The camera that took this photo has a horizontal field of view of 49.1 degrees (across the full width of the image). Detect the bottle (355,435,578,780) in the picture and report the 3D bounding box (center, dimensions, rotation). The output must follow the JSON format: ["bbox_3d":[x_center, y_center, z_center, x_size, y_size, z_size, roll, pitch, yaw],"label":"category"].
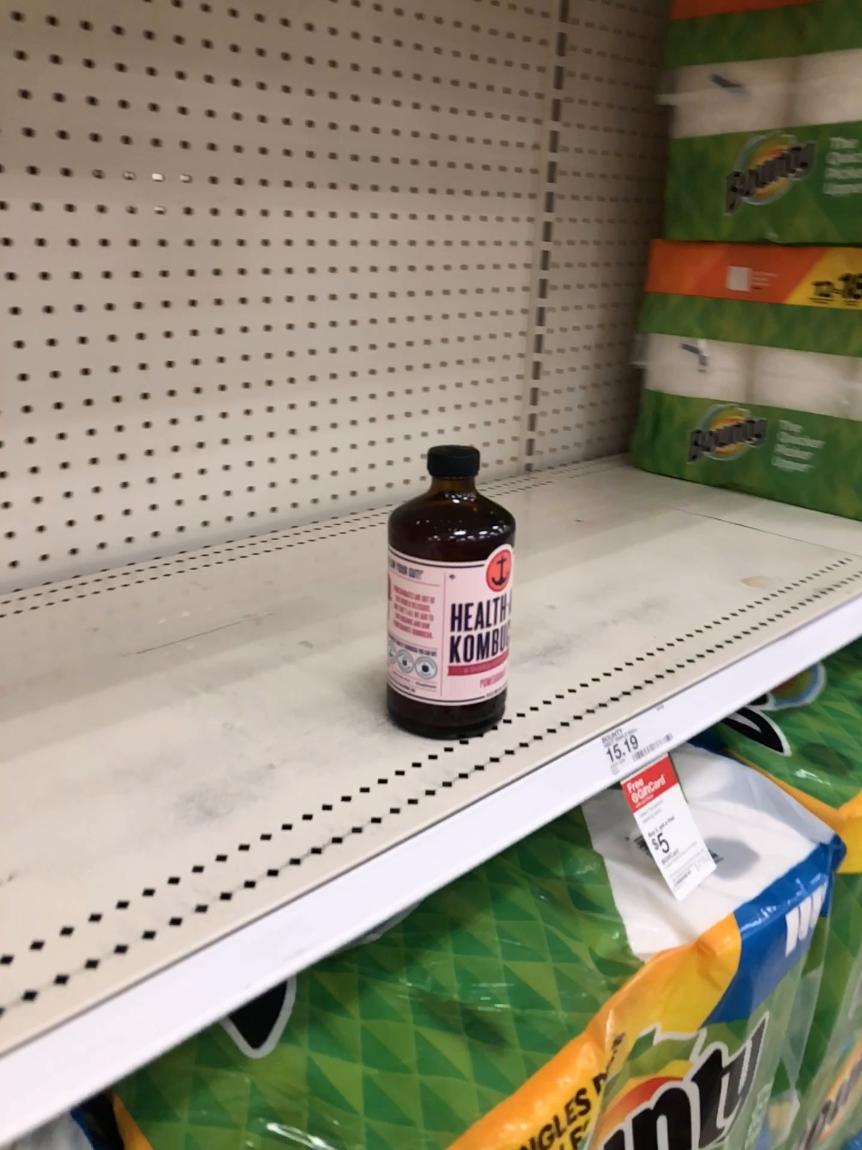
[{"bbox_3d":[0.018,0.014,0.562,0.089,0.169,0.087,2,21,-1],"label":"bottle"}]
